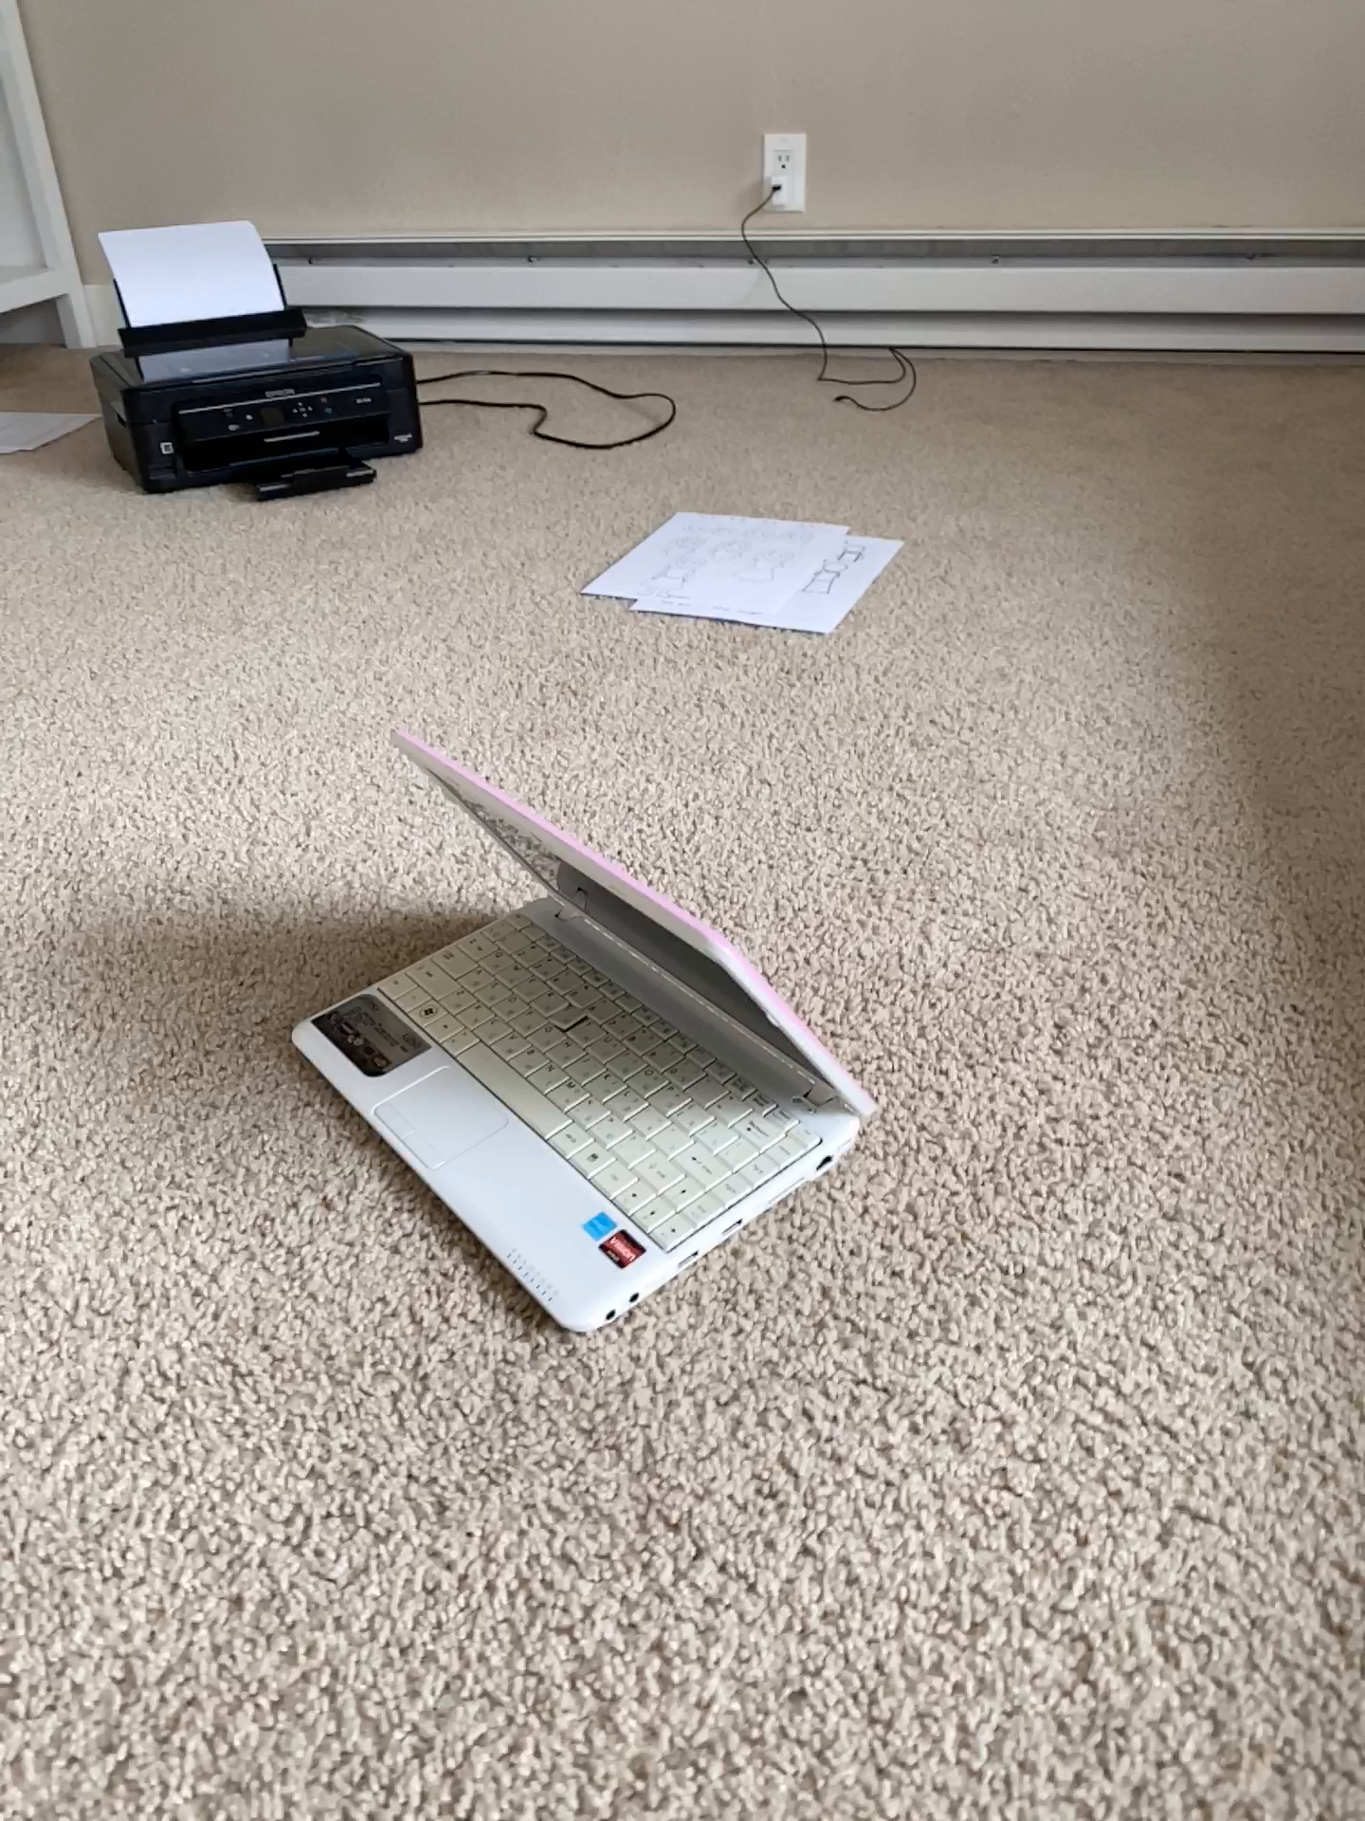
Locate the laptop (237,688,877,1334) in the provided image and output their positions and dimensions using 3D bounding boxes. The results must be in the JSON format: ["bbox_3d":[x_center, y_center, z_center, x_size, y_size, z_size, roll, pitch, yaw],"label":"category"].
[{"bbox_3d":[-0.071,0.029,0.725,0.188,0.147,0.287,-28,40,-30],"label":"laptop"}]
